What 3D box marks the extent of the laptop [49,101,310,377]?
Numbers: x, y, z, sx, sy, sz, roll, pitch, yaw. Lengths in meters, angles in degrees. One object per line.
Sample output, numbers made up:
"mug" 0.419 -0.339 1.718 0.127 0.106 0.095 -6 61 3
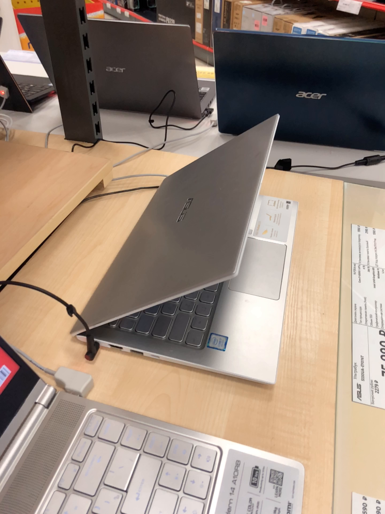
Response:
"laptop" 0.015 -0.051 0.484 0.196 0.119 0.310 11 41 10
